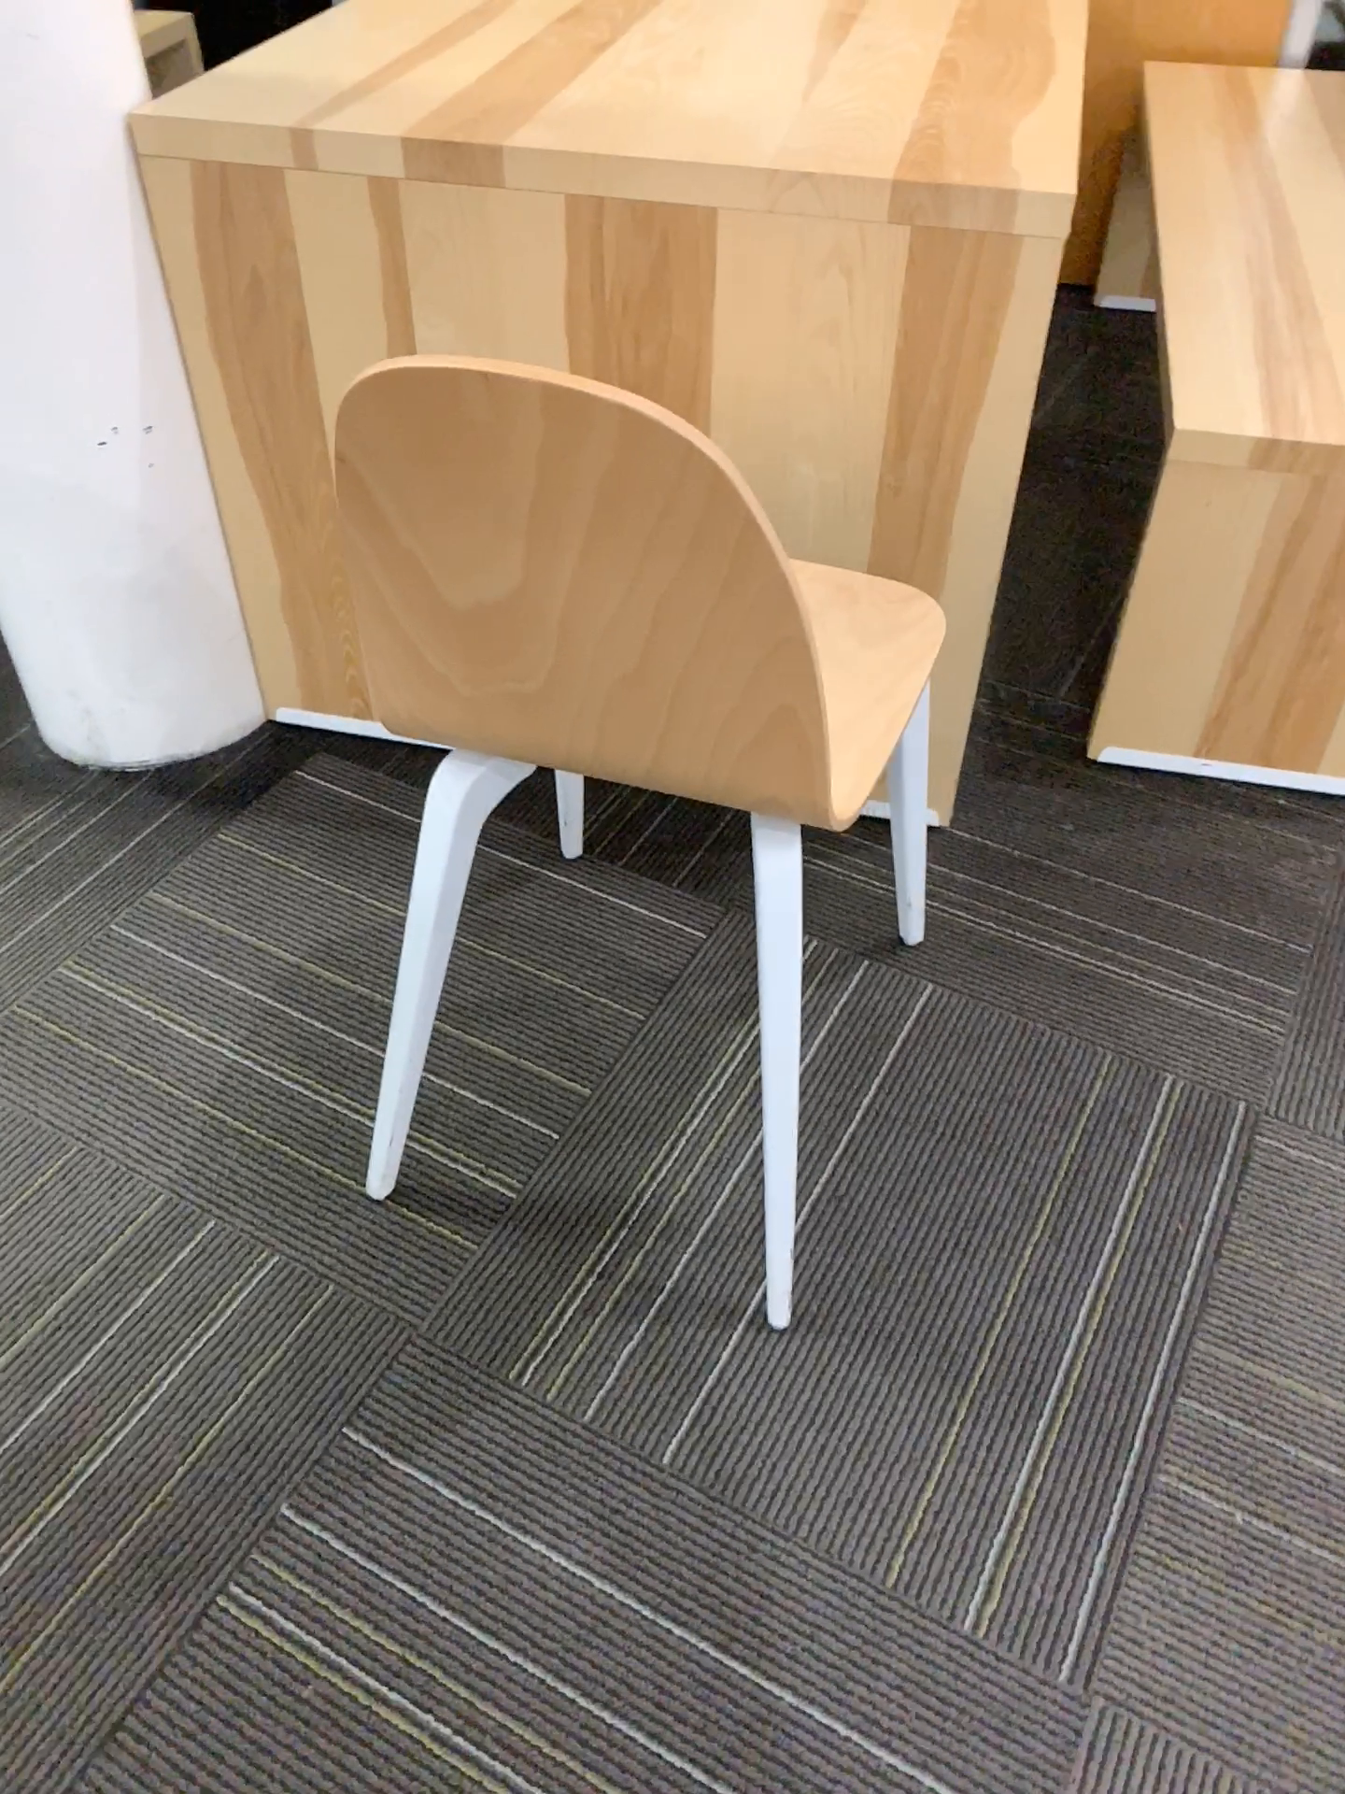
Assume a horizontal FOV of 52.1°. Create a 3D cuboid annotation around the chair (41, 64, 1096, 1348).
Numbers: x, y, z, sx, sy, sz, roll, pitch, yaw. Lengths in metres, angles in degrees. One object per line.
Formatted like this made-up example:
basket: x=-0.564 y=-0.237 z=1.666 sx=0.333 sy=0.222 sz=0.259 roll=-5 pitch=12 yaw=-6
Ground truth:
chair: x=-0.017 y=-0.144 z=1.149 sx=0.500 sy=0.815 sz=0.553 roll=13 pitch=45 yaw=13
